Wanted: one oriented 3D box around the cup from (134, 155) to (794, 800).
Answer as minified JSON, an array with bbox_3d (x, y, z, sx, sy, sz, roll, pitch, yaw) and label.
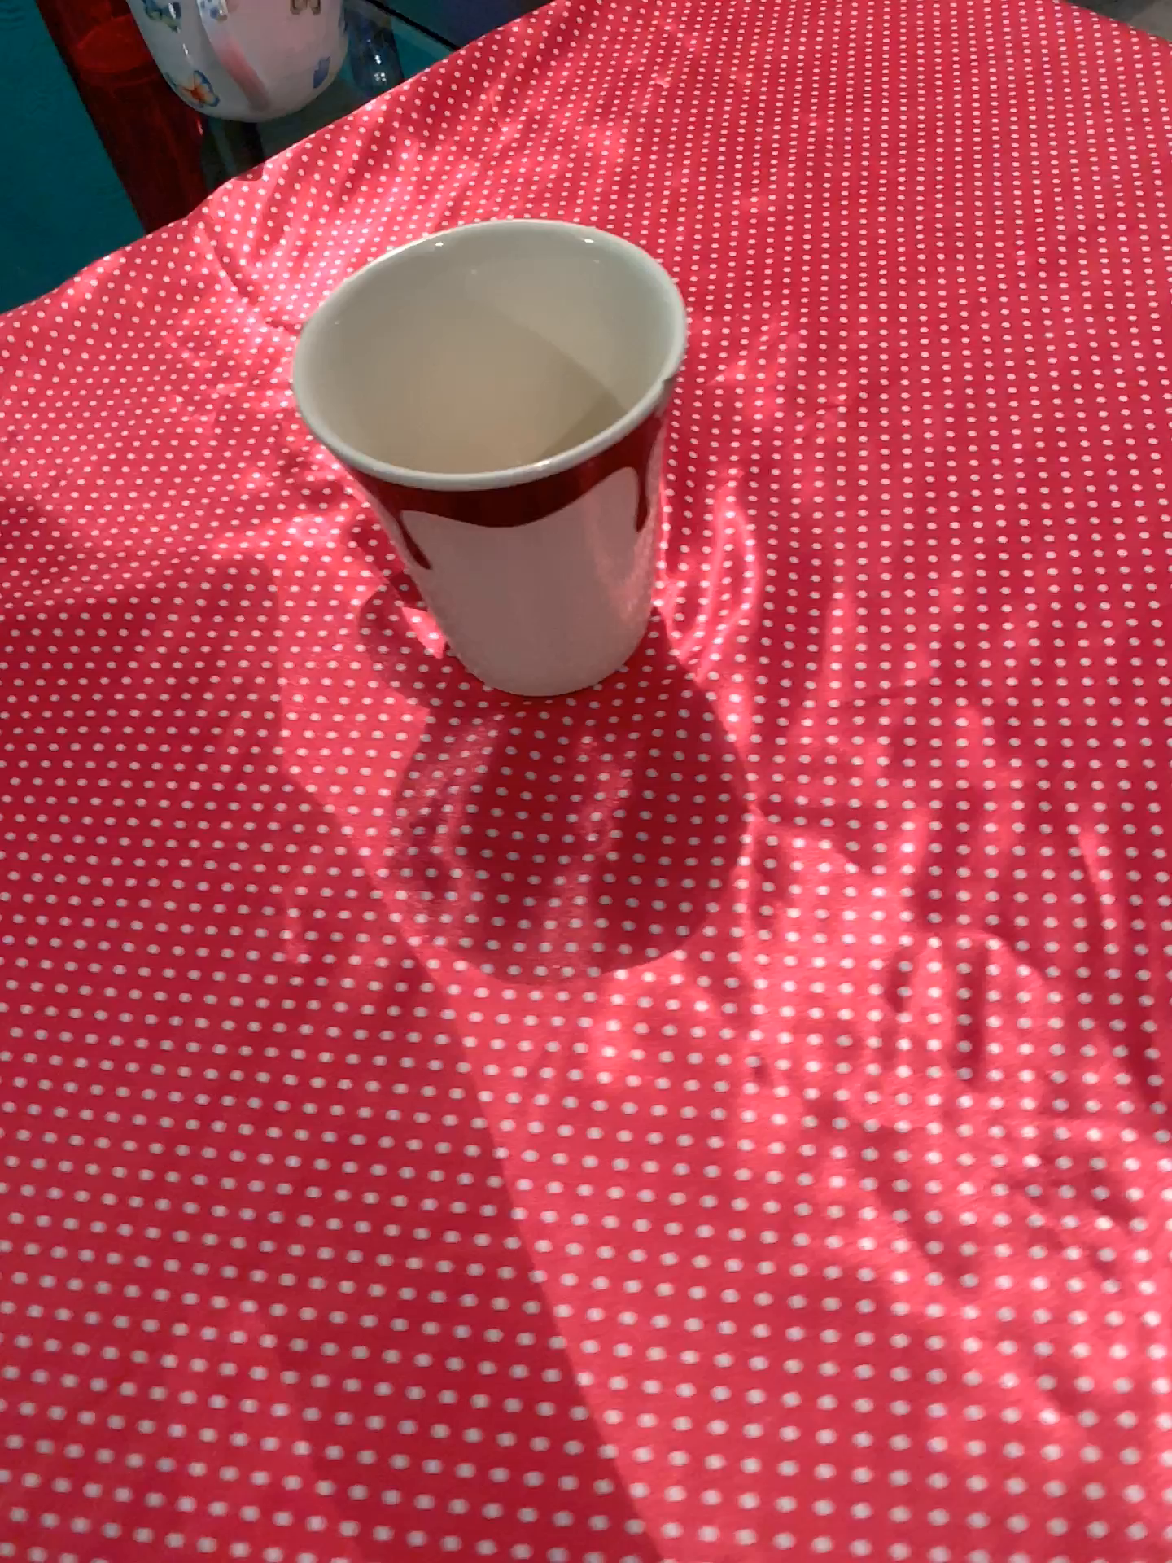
[{"bbox_3d":[-0.027,-0.086,0.330,0.130,0.090,0.100,33,67,26],"label":"cup"}]
